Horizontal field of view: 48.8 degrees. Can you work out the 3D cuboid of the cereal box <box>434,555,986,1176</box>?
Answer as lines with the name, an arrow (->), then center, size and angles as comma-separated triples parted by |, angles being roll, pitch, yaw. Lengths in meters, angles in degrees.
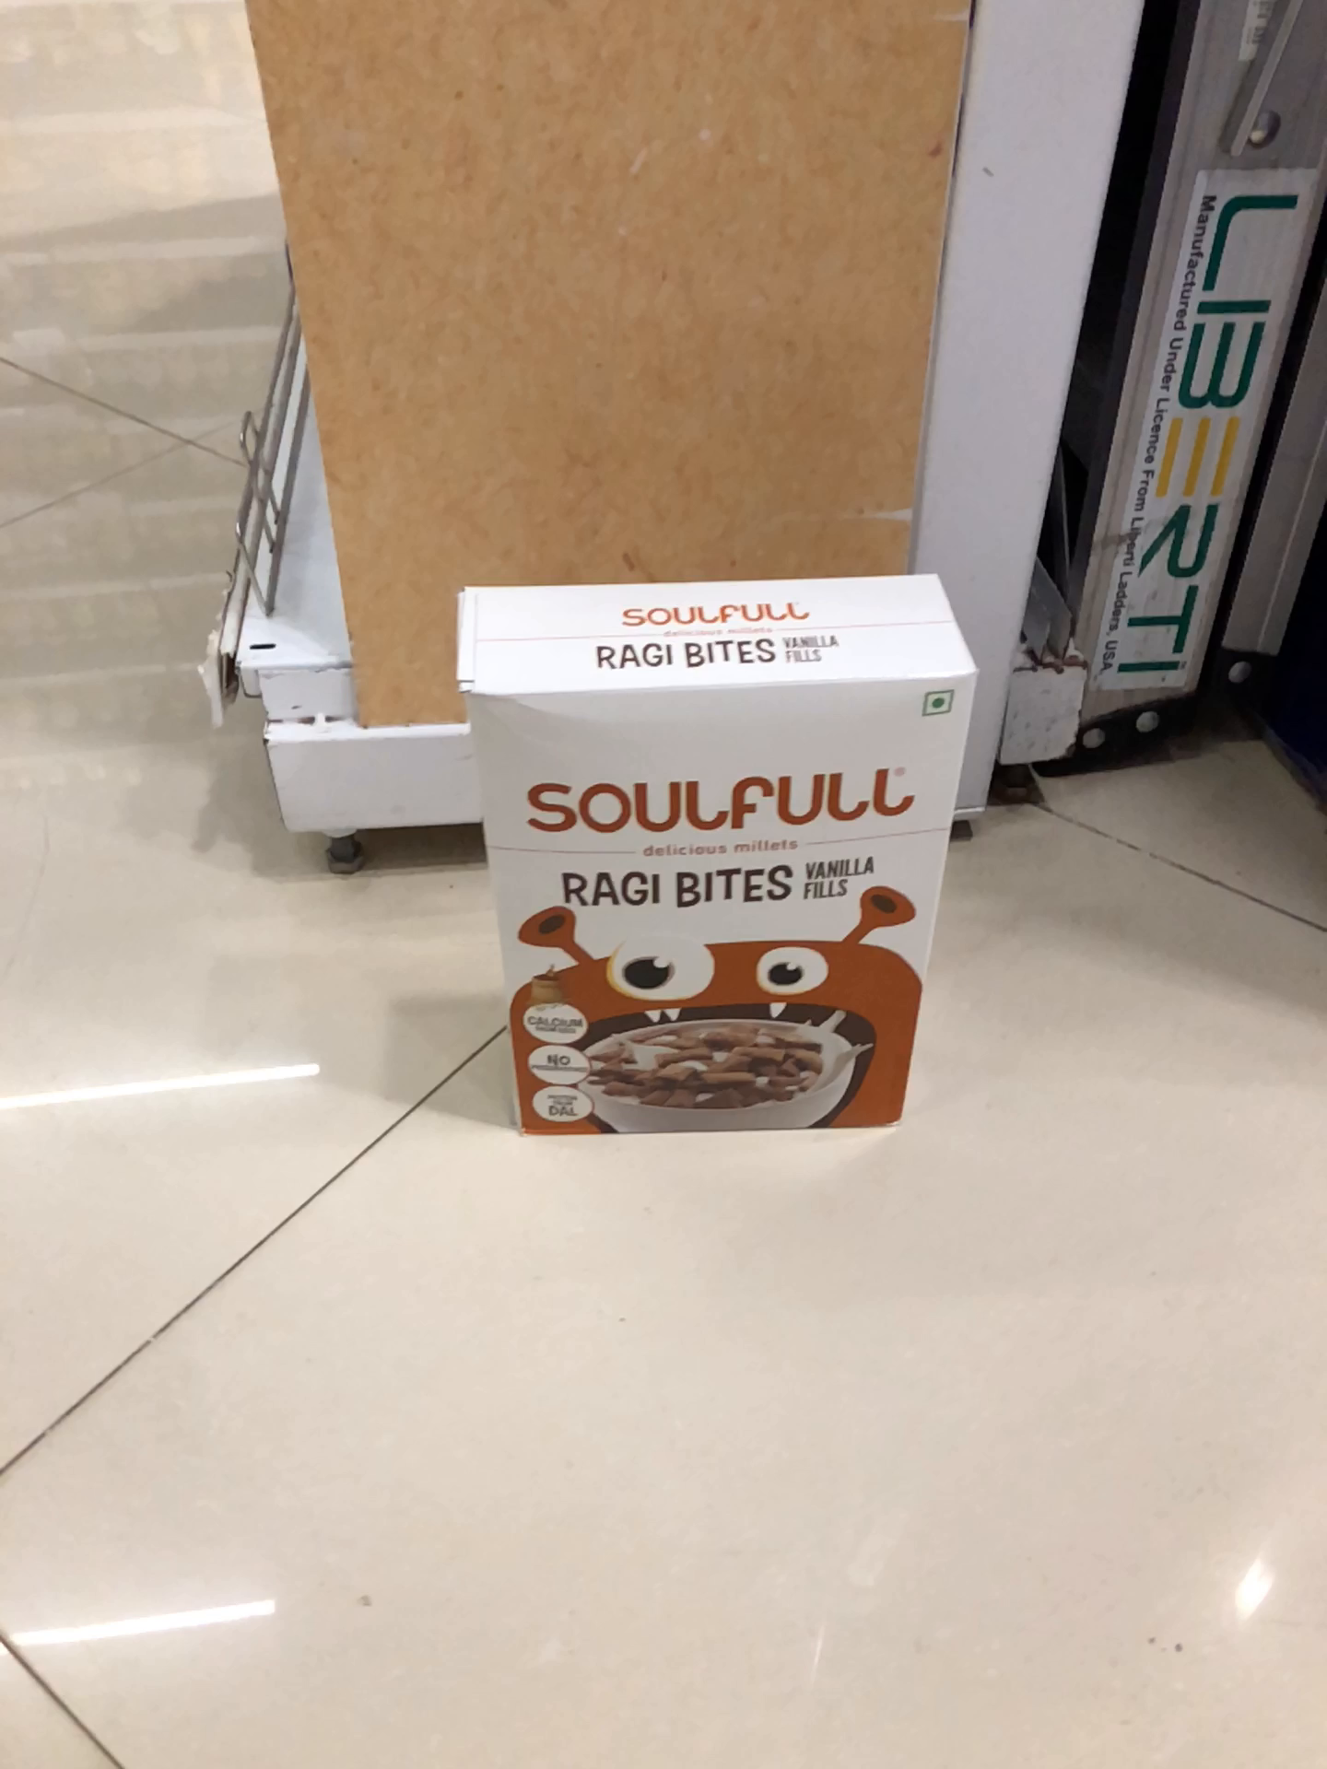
cereal box -> 0.014, 0.005, 0.559 | 0.170, 0.248, 0.070 | -2, 43, -2
